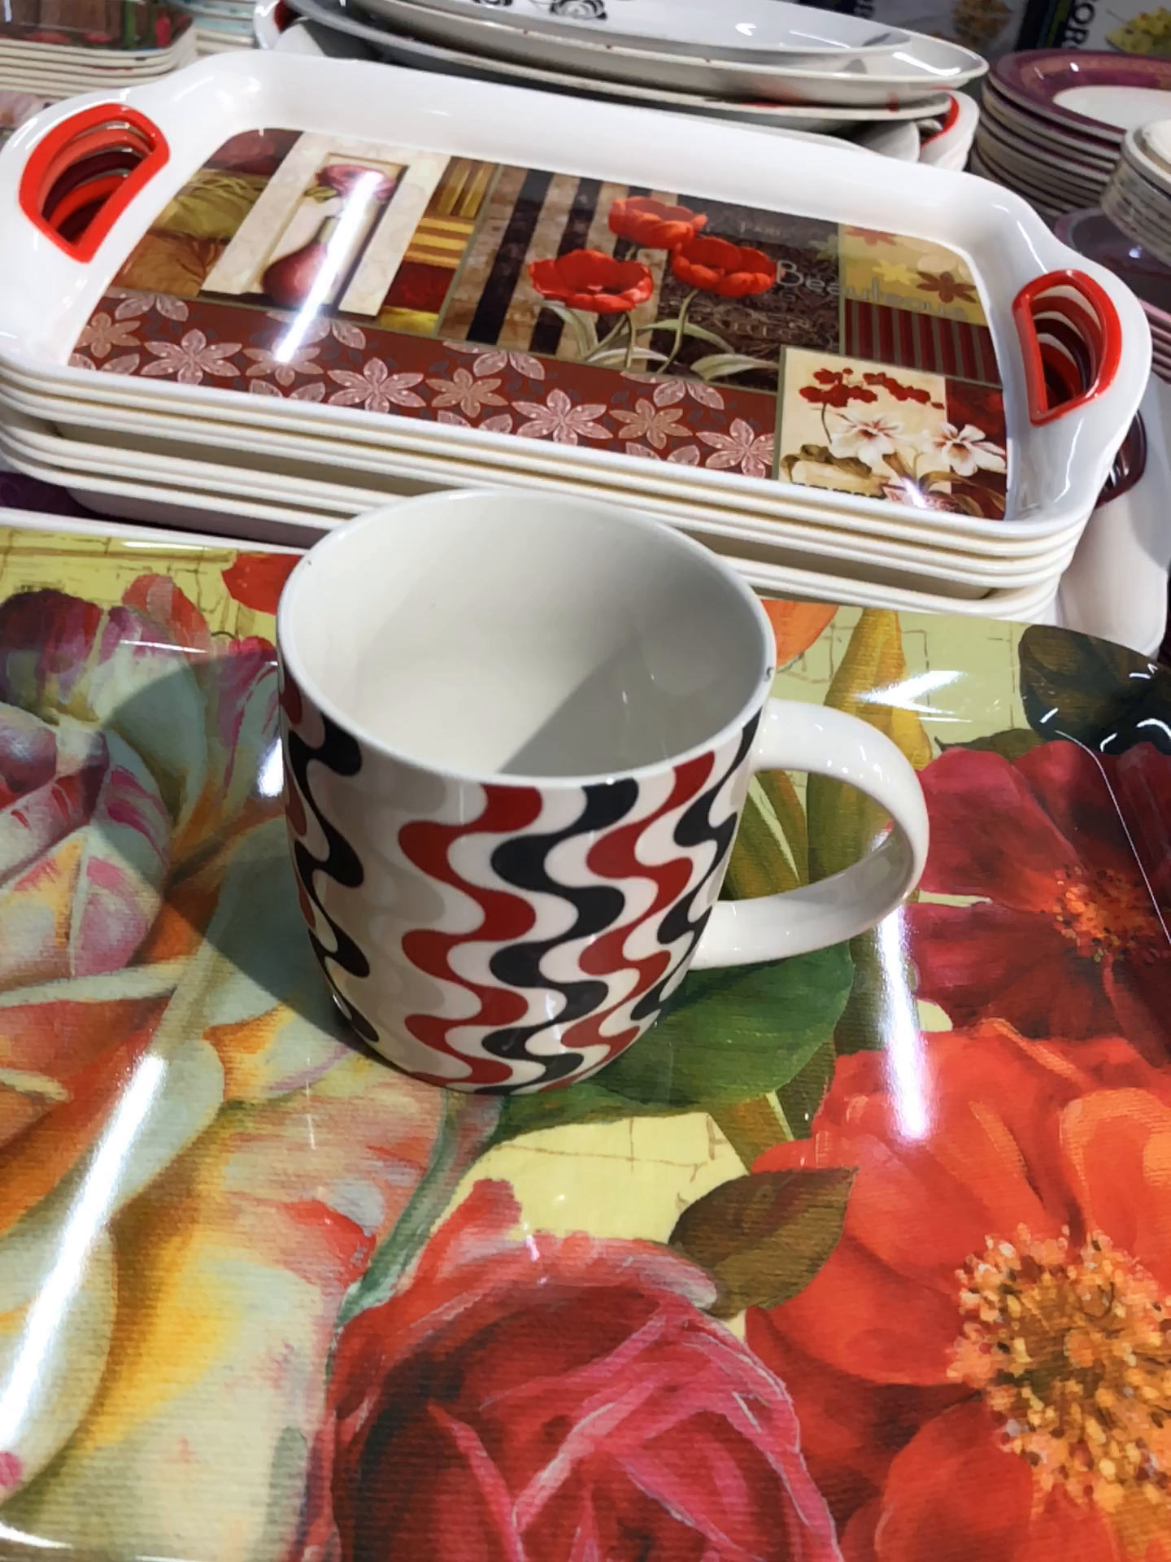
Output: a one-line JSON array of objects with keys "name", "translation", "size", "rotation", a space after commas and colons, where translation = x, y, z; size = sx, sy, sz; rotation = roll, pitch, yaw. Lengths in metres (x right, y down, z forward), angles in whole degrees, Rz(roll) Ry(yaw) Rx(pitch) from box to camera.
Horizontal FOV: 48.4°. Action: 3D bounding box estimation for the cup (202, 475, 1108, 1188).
[{"name": "cup", "translation": [0.008, 0.008, 0.245], "size": [0.130, 0.079, 0.091], "rotation": [7, 39, -3]}]
